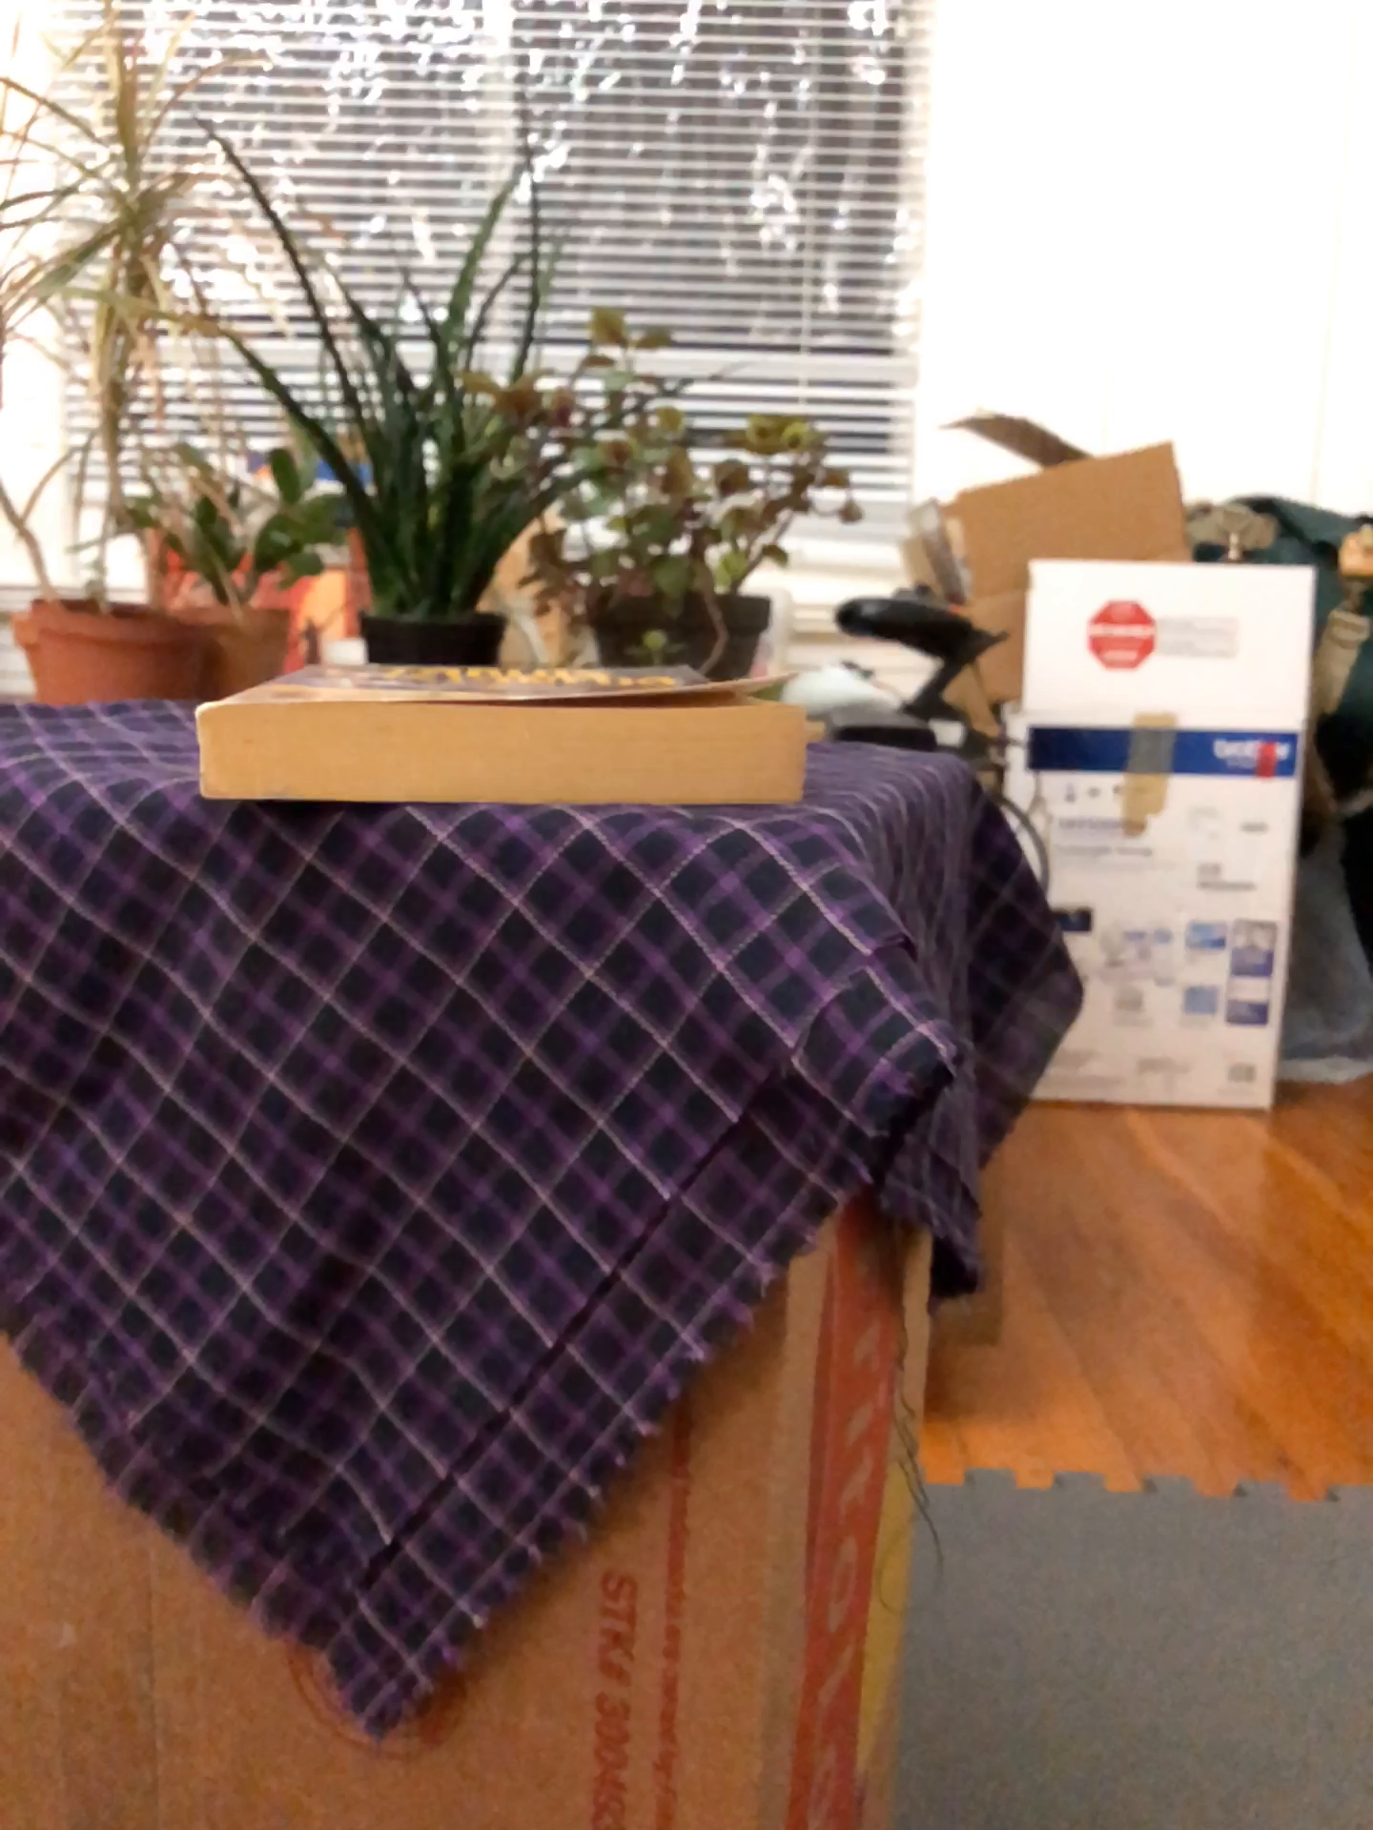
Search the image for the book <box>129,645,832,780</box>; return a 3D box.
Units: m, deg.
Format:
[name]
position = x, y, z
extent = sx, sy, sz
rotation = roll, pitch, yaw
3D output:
[book]
position = -0.055, -0.062, 0.440
extent = 0.150, 0.020, 0.221
rotation = 0, 12, -7
